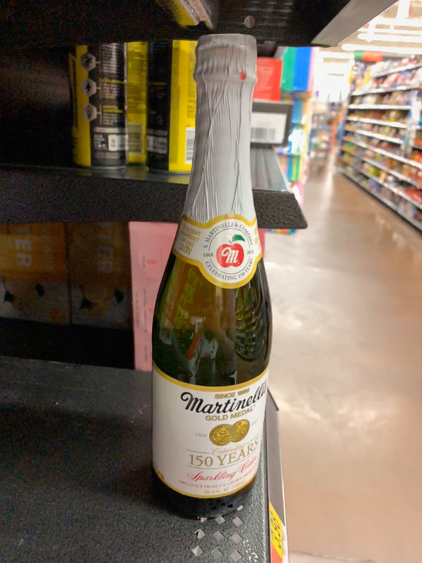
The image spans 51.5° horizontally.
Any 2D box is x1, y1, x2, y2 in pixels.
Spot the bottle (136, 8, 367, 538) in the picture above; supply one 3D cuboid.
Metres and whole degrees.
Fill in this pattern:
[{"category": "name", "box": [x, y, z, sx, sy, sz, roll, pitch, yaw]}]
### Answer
[{"category": "bottle", "box": [0.005, 0.009, 0.284, 0.089, 0.299, 0.090, 4, 22, -2]}]
